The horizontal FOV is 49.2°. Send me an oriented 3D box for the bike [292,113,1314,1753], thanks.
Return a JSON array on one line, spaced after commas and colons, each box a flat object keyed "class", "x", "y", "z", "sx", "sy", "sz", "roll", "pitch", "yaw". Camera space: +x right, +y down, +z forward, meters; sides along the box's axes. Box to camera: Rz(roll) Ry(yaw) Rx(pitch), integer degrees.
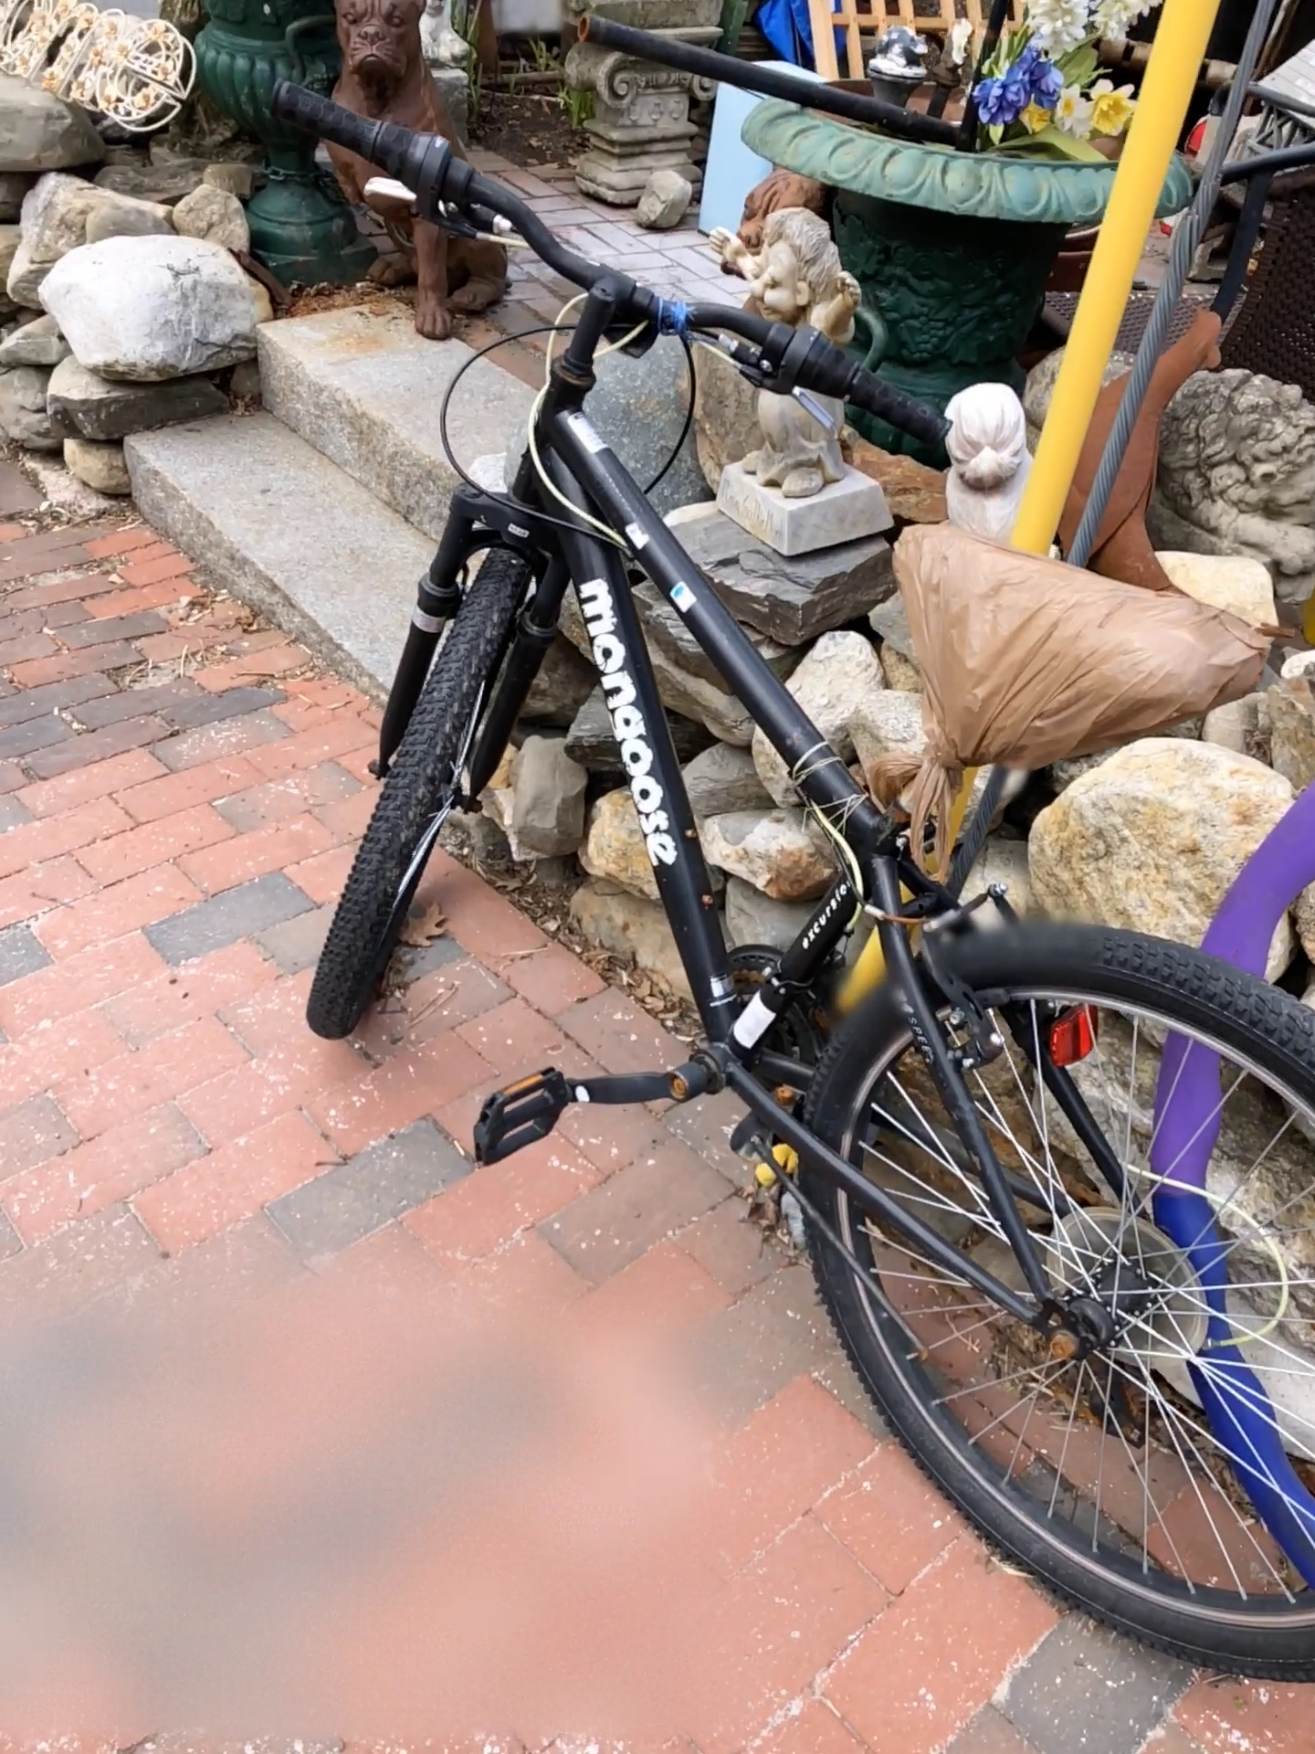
[{"class": "bike", "x": 0.226, "y": -0.050, "z": 1.341, "sx": 0.634, "sy": 0.872, "sz": 1.413, "roll": -19, "pitch": 46, "yaw": -30}]
